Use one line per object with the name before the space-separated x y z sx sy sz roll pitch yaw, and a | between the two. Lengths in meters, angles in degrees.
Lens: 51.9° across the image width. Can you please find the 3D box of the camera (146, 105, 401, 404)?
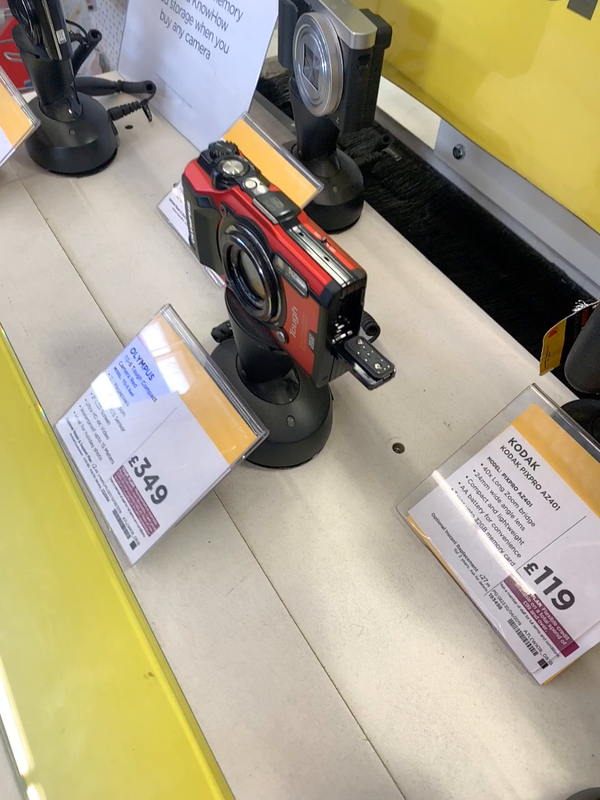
camera | -0.016 -0.065 0.266 0.040 0.060 0.121 -29 61 -21
